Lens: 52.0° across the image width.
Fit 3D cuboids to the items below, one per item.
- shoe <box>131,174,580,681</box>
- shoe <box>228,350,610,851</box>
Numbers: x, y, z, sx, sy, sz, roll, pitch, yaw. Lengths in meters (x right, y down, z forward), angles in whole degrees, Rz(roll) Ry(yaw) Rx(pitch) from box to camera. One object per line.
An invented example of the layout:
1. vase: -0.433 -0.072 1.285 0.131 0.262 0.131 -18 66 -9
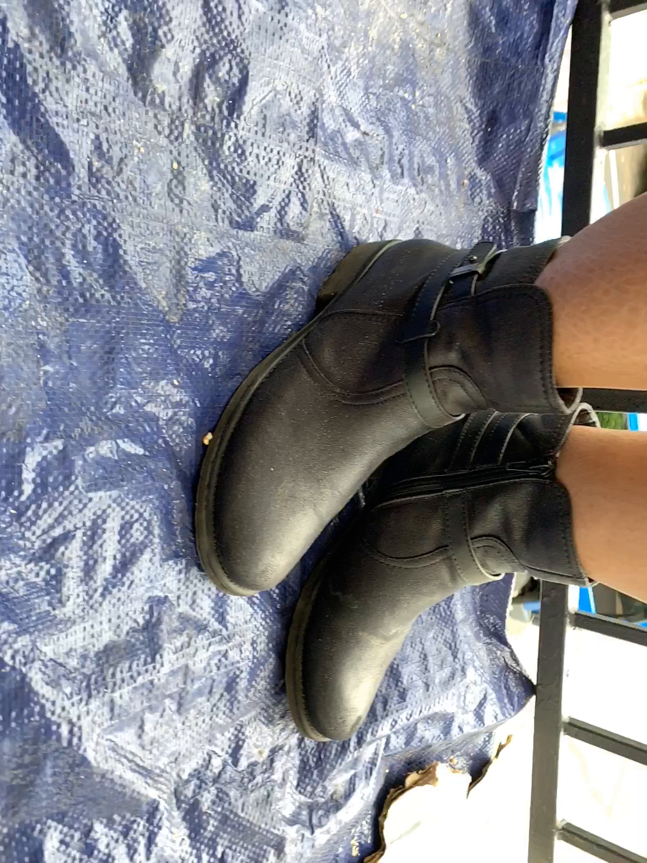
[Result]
1. shoe: 0.036 -0.020 0.405 0.280 0.129 0.101 -57 132 -26
2. shoe: 0.078 0.087 0.433 0.111 0.109 0.280 52 58 -38
